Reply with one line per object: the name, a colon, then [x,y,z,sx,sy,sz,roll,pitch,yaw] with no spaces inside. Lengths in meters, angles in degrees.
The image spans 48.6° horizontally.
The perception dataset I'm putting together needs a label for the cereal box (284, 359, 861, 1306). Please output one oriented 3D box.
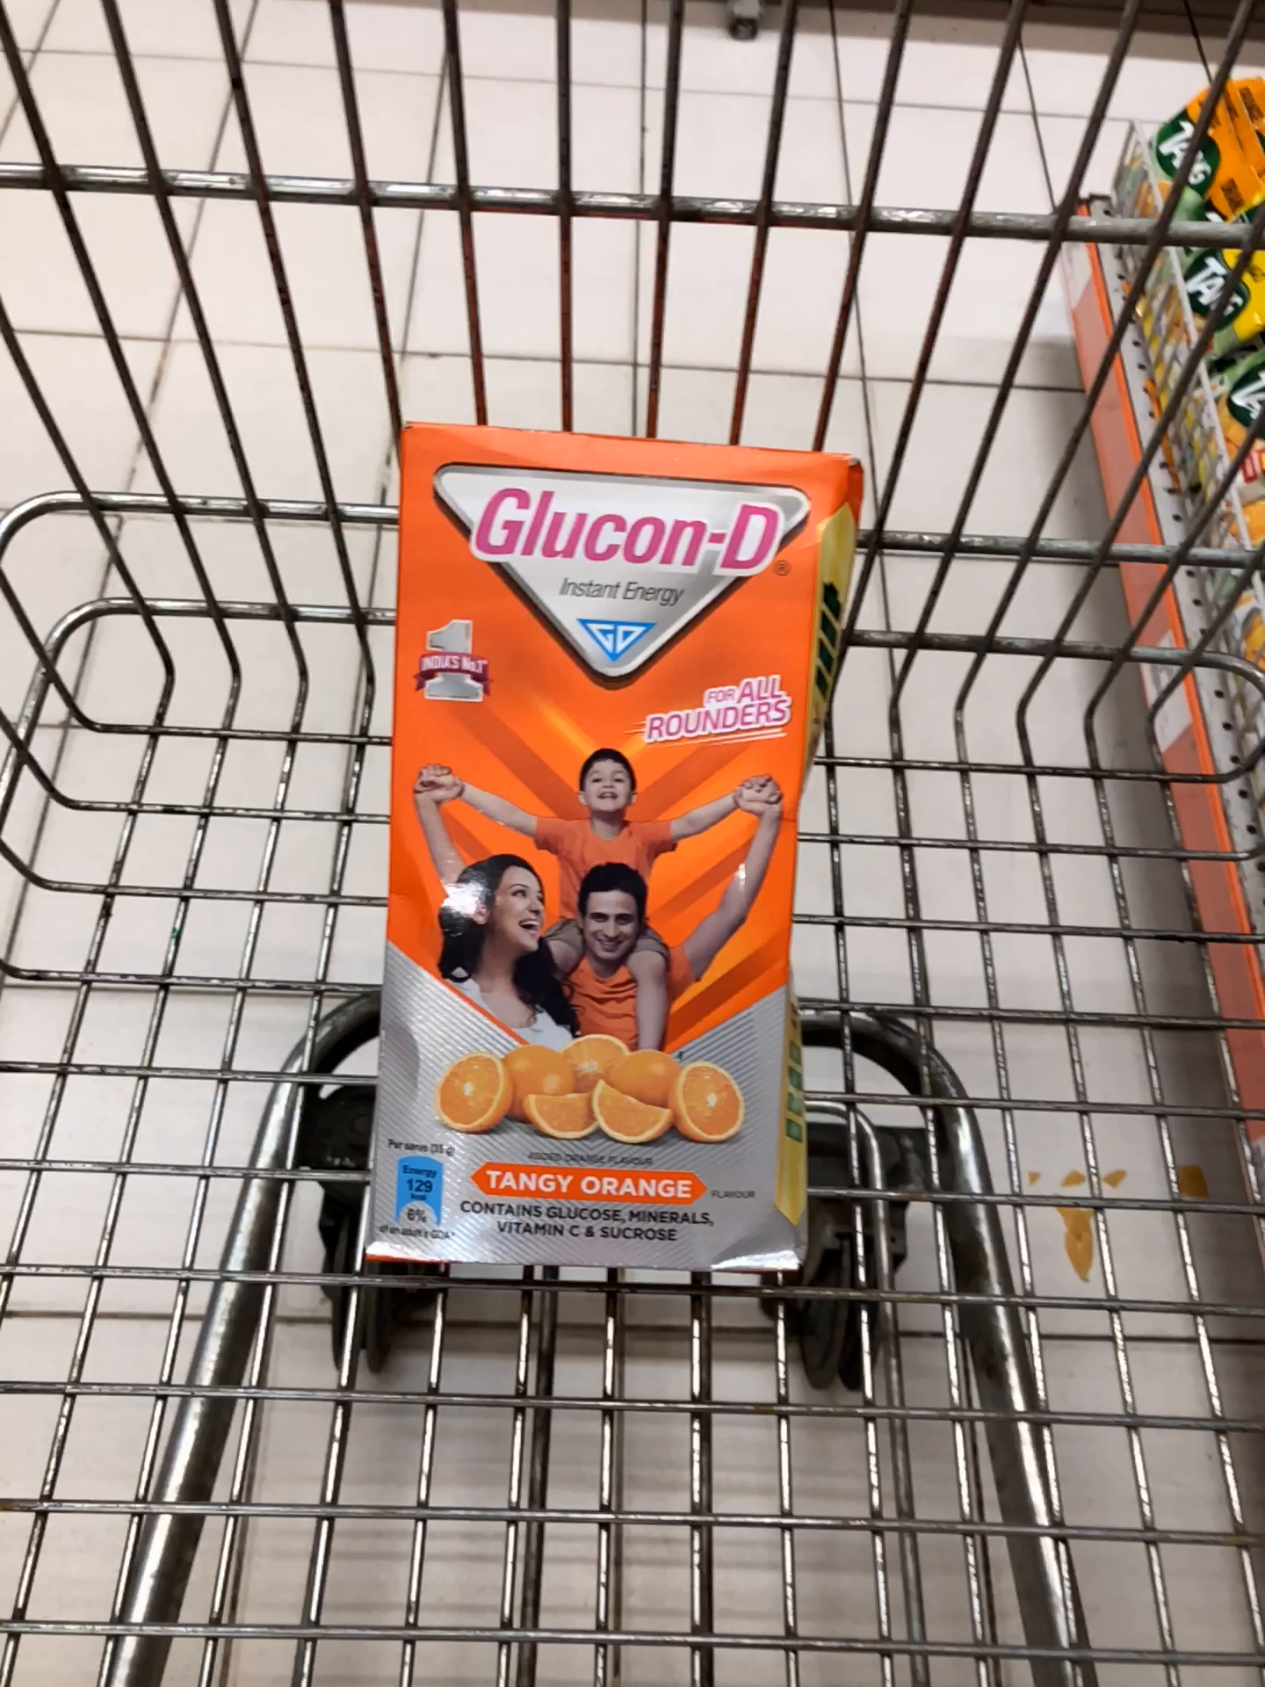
cereal box: [-0.015,-0.003,0.370,0.120,0.100,0.210,3,90,-2]
